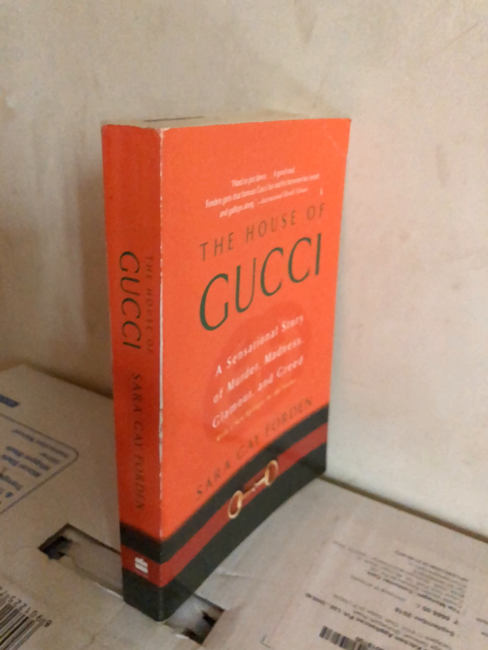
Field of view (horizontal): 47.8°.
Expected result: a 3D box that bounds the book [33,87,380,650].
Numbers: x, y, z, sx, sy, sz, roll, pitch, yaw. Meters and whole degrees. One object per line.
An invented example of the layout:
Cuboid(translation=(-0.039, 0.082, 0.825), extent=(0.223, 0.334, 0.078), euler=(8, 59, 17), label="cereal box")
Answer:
Cuboid(translation=(0.000, 0.006, 0.282), extent=(0.040, 0.229, 0.191), euler=(18, 30, 29), label="book")
